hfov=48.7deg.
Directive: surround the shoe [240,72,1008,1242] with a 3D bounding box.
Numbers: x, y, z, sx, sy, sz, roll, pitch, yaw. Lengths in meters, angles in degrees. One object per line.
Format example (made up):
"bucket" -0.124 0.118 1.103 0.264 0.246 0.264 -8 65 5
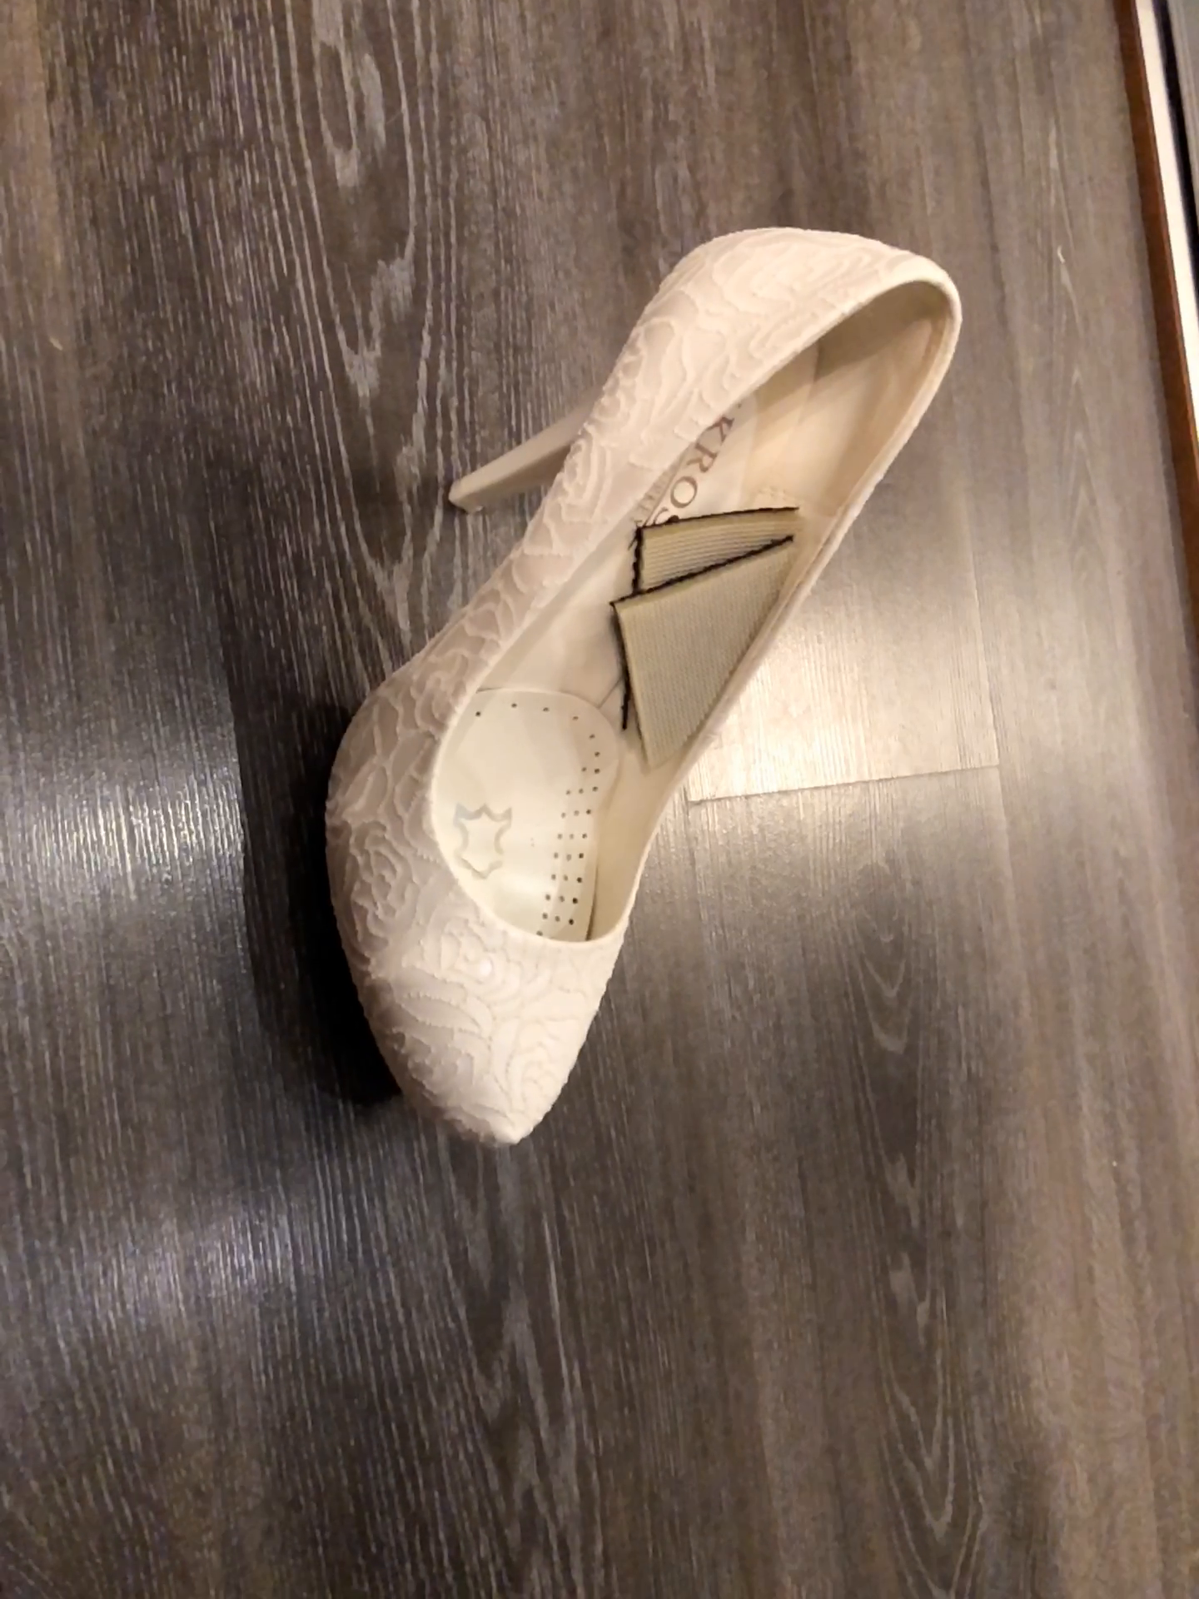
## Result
"shoe" 0.003 -0.019 0.313 0.090 0.149 0.210 13 76 -39
